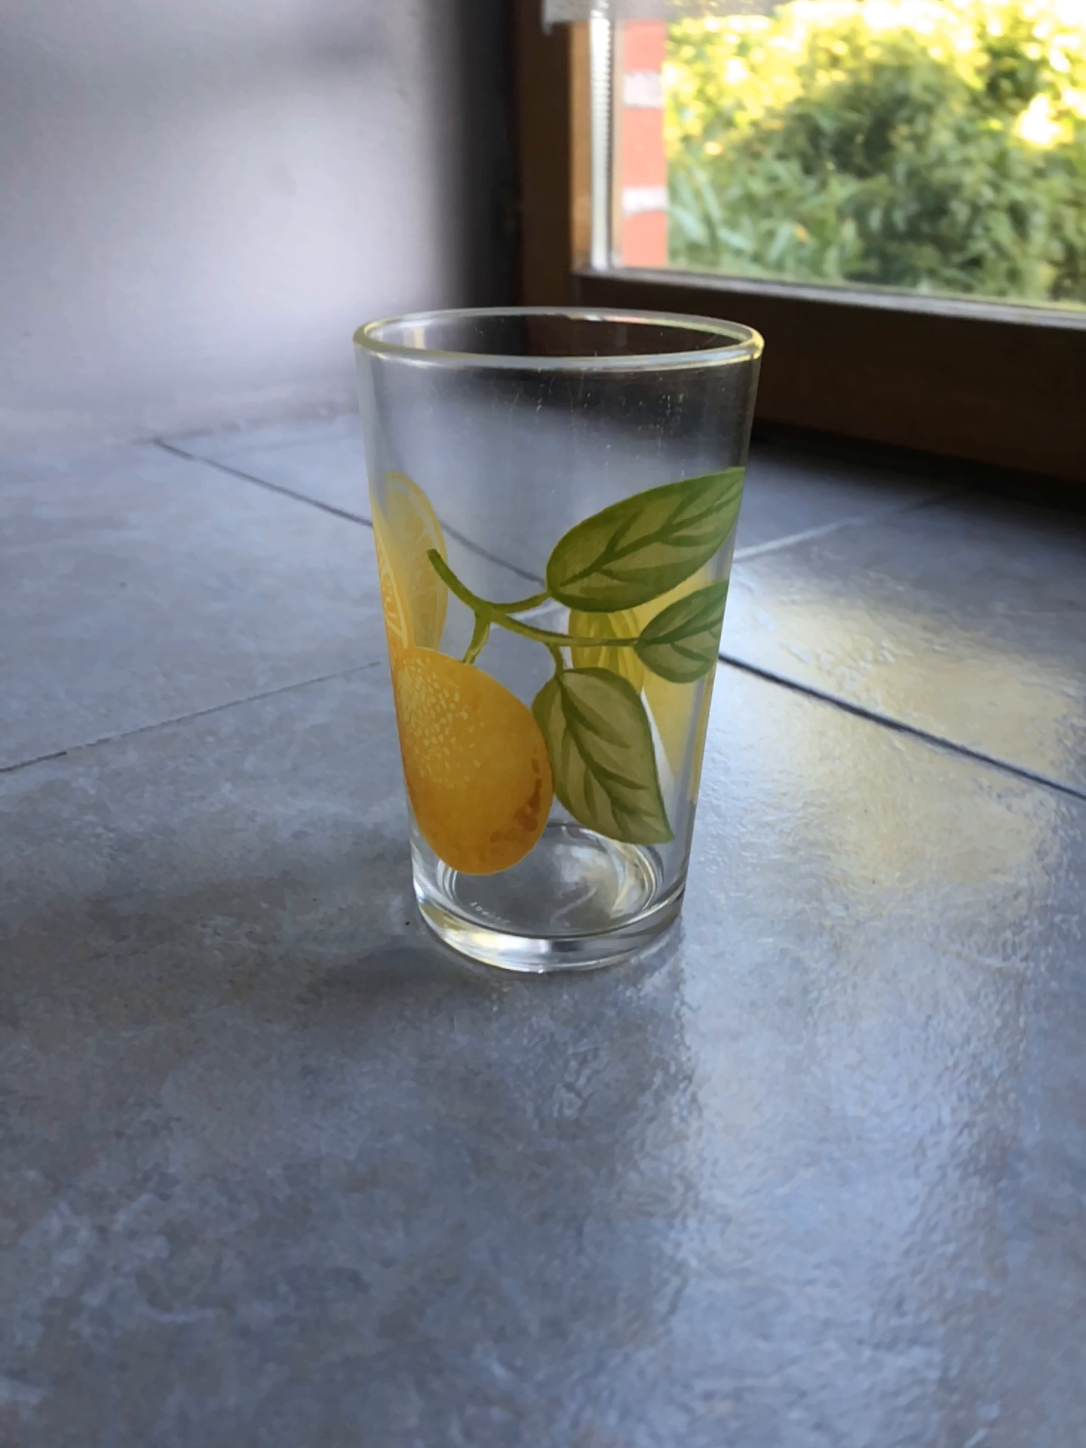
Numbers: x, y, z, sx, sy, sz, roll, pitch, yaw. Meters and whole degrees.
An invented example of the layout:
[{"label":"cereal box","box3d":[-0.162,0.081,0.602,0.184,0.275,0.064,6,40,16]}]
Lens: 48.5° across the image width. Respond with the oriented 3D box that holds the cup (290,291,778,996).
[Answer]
[{"label":"cup","box3d":[0.004,-0.019,0.232,0.069,0.112,0.070,-1,26,0]}]
